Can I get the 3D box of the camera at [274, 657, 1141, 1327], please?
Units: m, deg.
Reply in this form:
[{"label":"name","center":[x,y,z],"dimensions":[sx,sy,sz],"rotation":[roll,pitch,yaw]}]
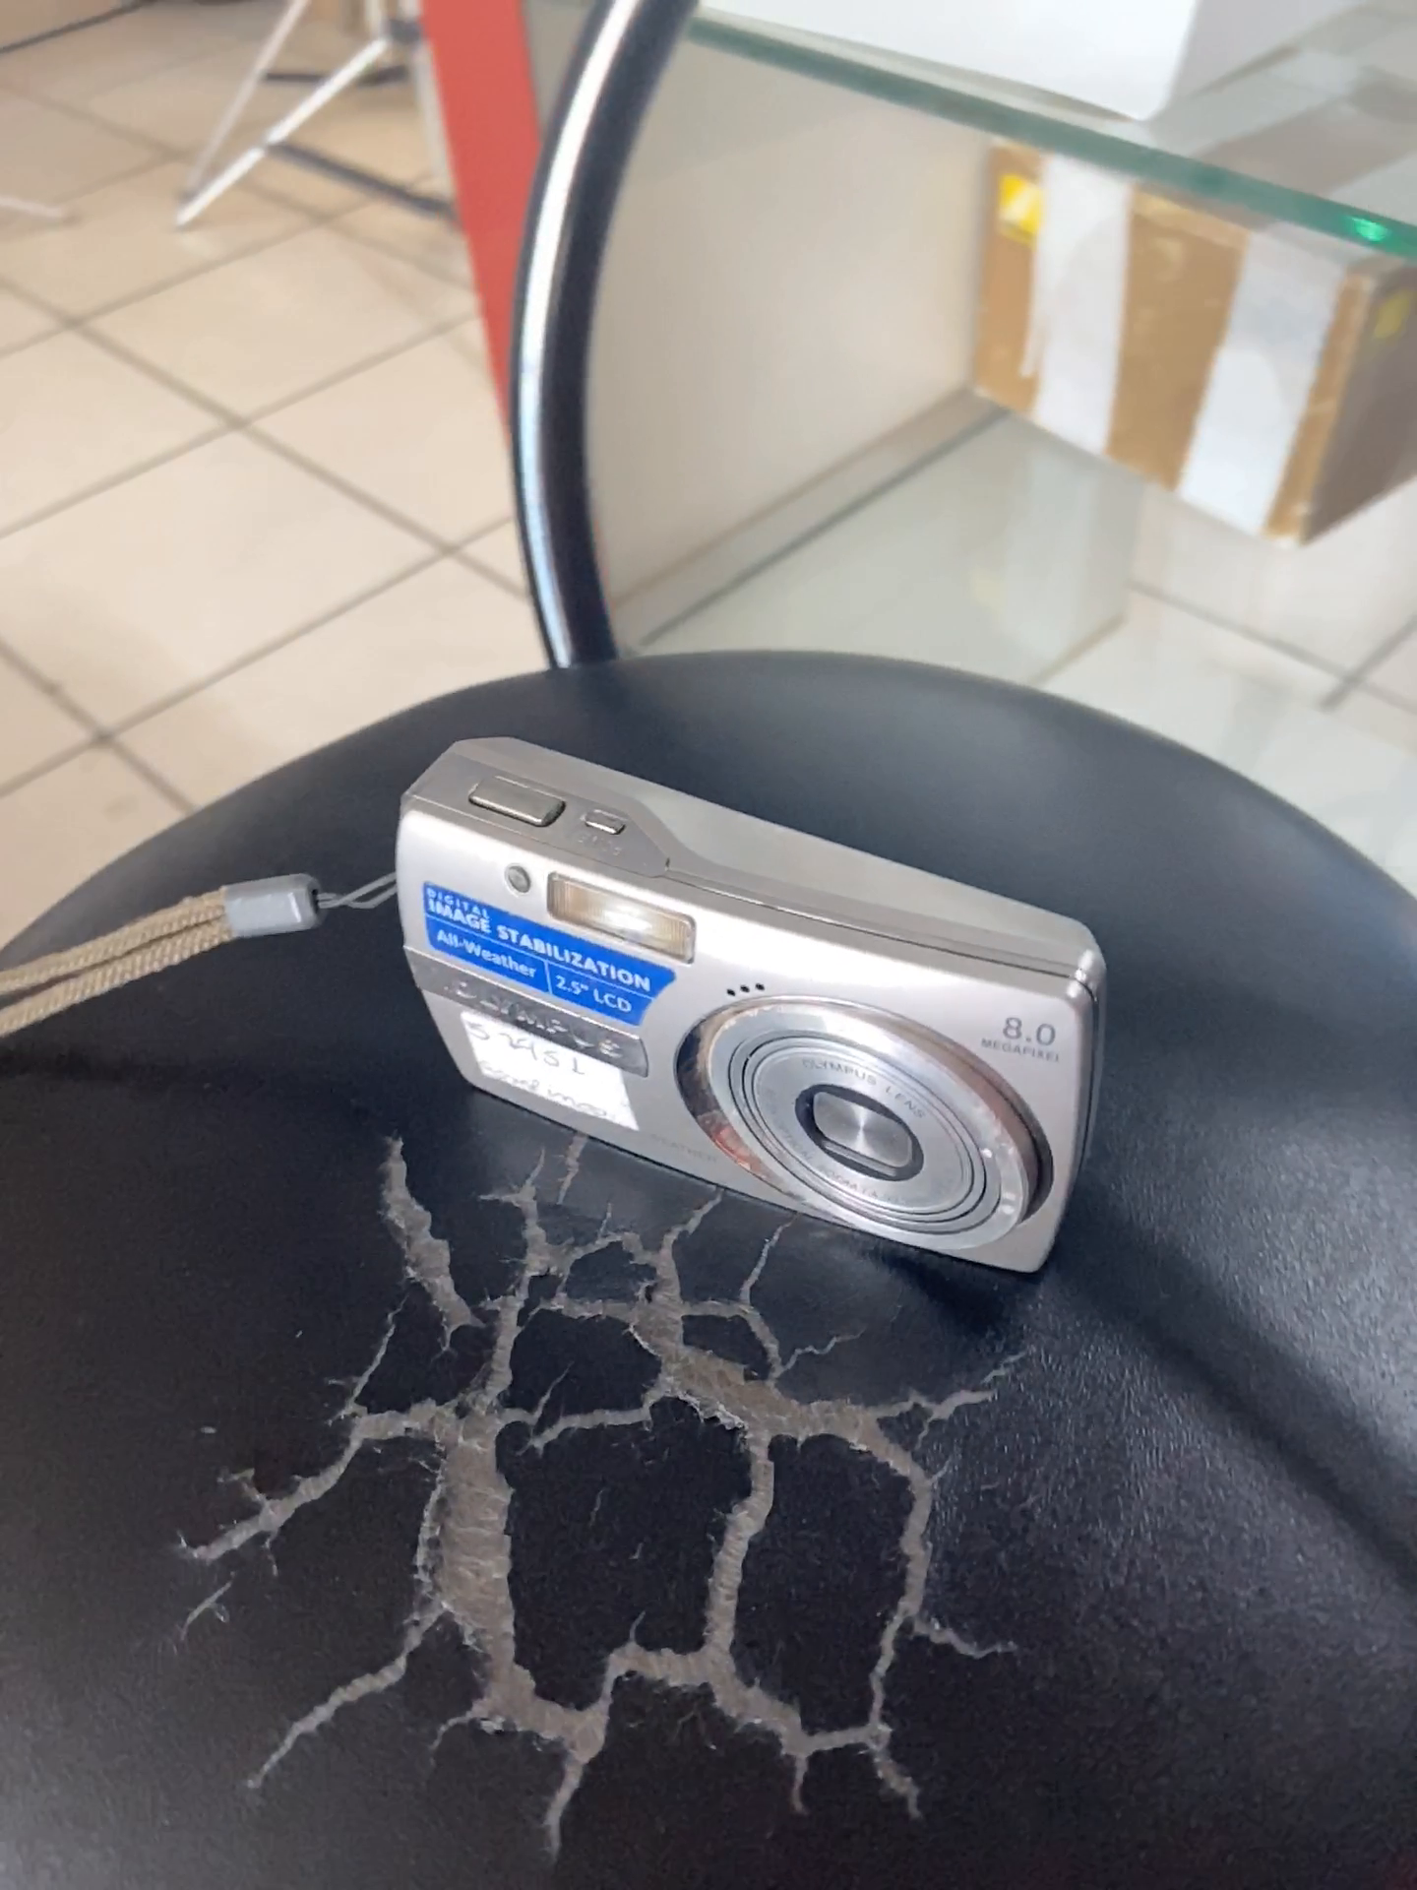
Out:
[{"label":"camera","center":[-0.001,0.005,0.198],"dimensions":[0.100,0.060,0.030],"rotation":[17,51,20]}]
